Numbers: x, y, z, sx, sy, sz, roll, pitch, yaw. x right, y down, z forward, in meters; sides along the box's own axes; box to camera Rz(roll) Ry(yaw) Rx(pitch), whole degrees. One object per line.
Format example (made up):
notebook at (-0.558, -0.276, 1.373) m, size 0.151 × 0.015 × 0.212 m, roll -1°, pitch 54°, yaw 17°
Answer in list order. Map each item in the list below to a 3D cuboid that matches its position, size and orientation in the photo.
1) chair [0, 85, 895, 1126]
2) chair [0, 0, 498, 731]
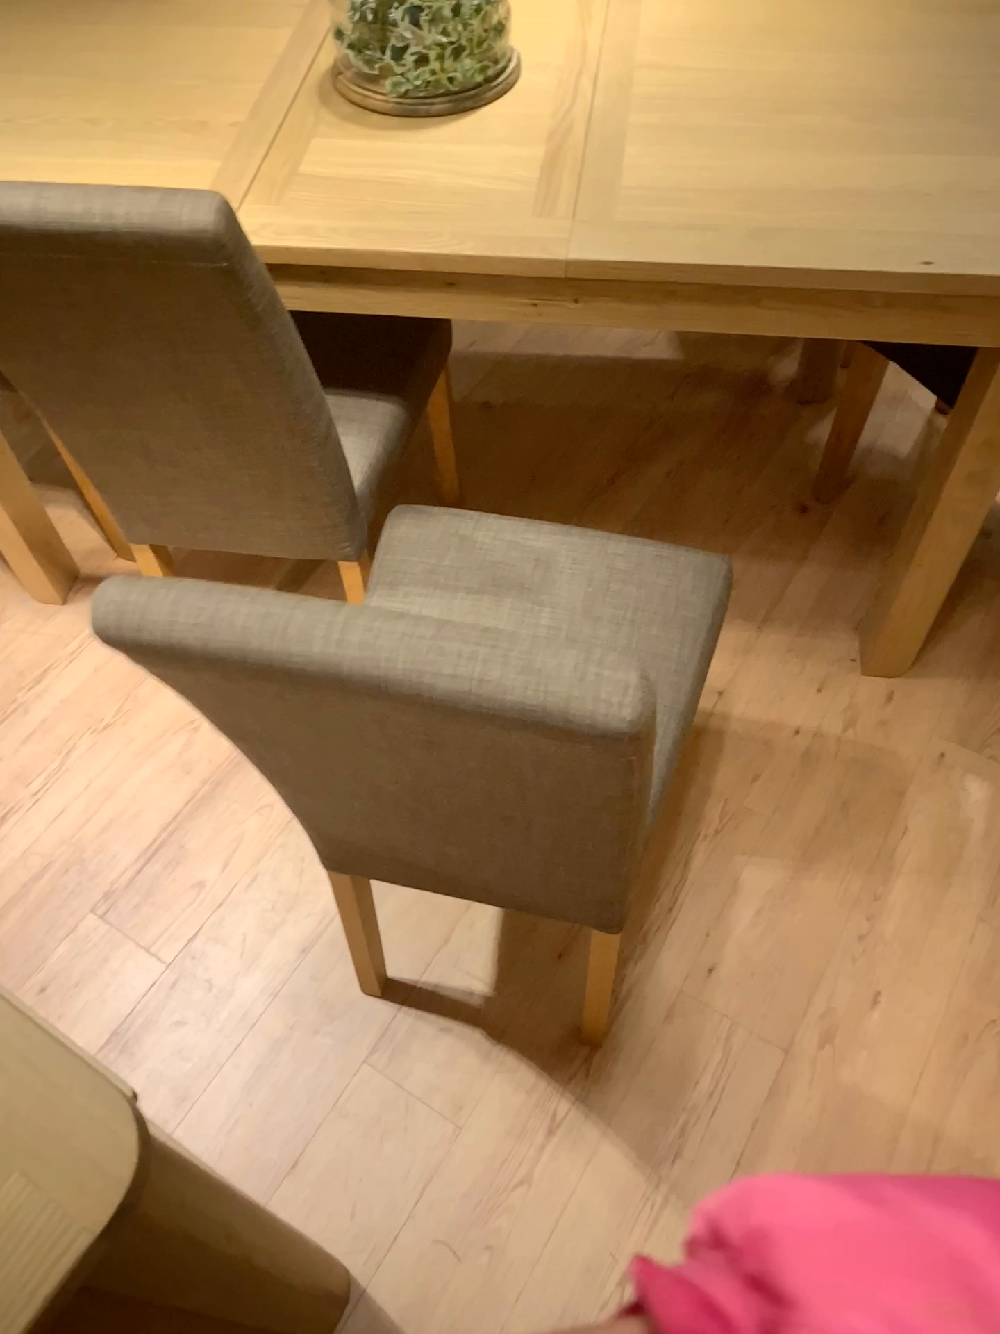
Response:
chair at (0.032, 0.007, 1.073) m, size 0.507 × 0.885 × 0.608 m, roll 9°, pitch 55°, yaw 10°
chair at (-0.301, -0.362, 1.323) m, size 0.497 × 0.766 × 0.507 m, roll 6°, pitch 54°, yaw 7°
